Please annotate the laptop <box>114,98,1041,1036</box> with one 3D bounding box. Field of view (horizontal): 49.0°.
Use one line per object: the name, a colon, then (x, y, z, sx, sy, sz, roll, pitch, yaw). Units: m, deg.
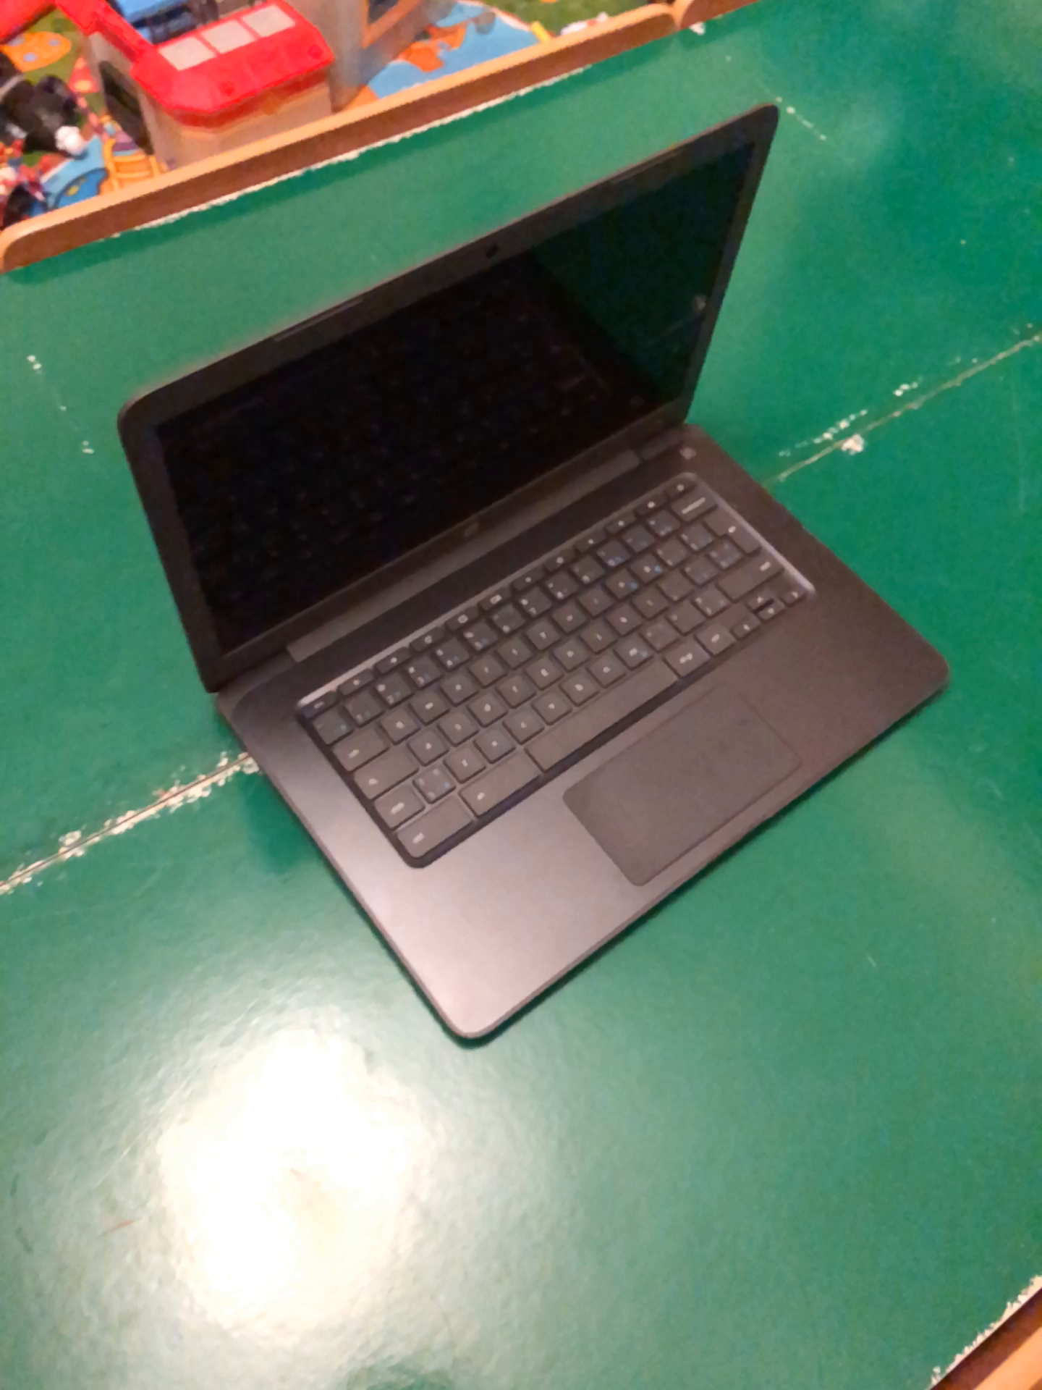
laptop: (0.039, -0.058, 0.510, 0.317, 0.204, 0.211, -33, 67, -19)
